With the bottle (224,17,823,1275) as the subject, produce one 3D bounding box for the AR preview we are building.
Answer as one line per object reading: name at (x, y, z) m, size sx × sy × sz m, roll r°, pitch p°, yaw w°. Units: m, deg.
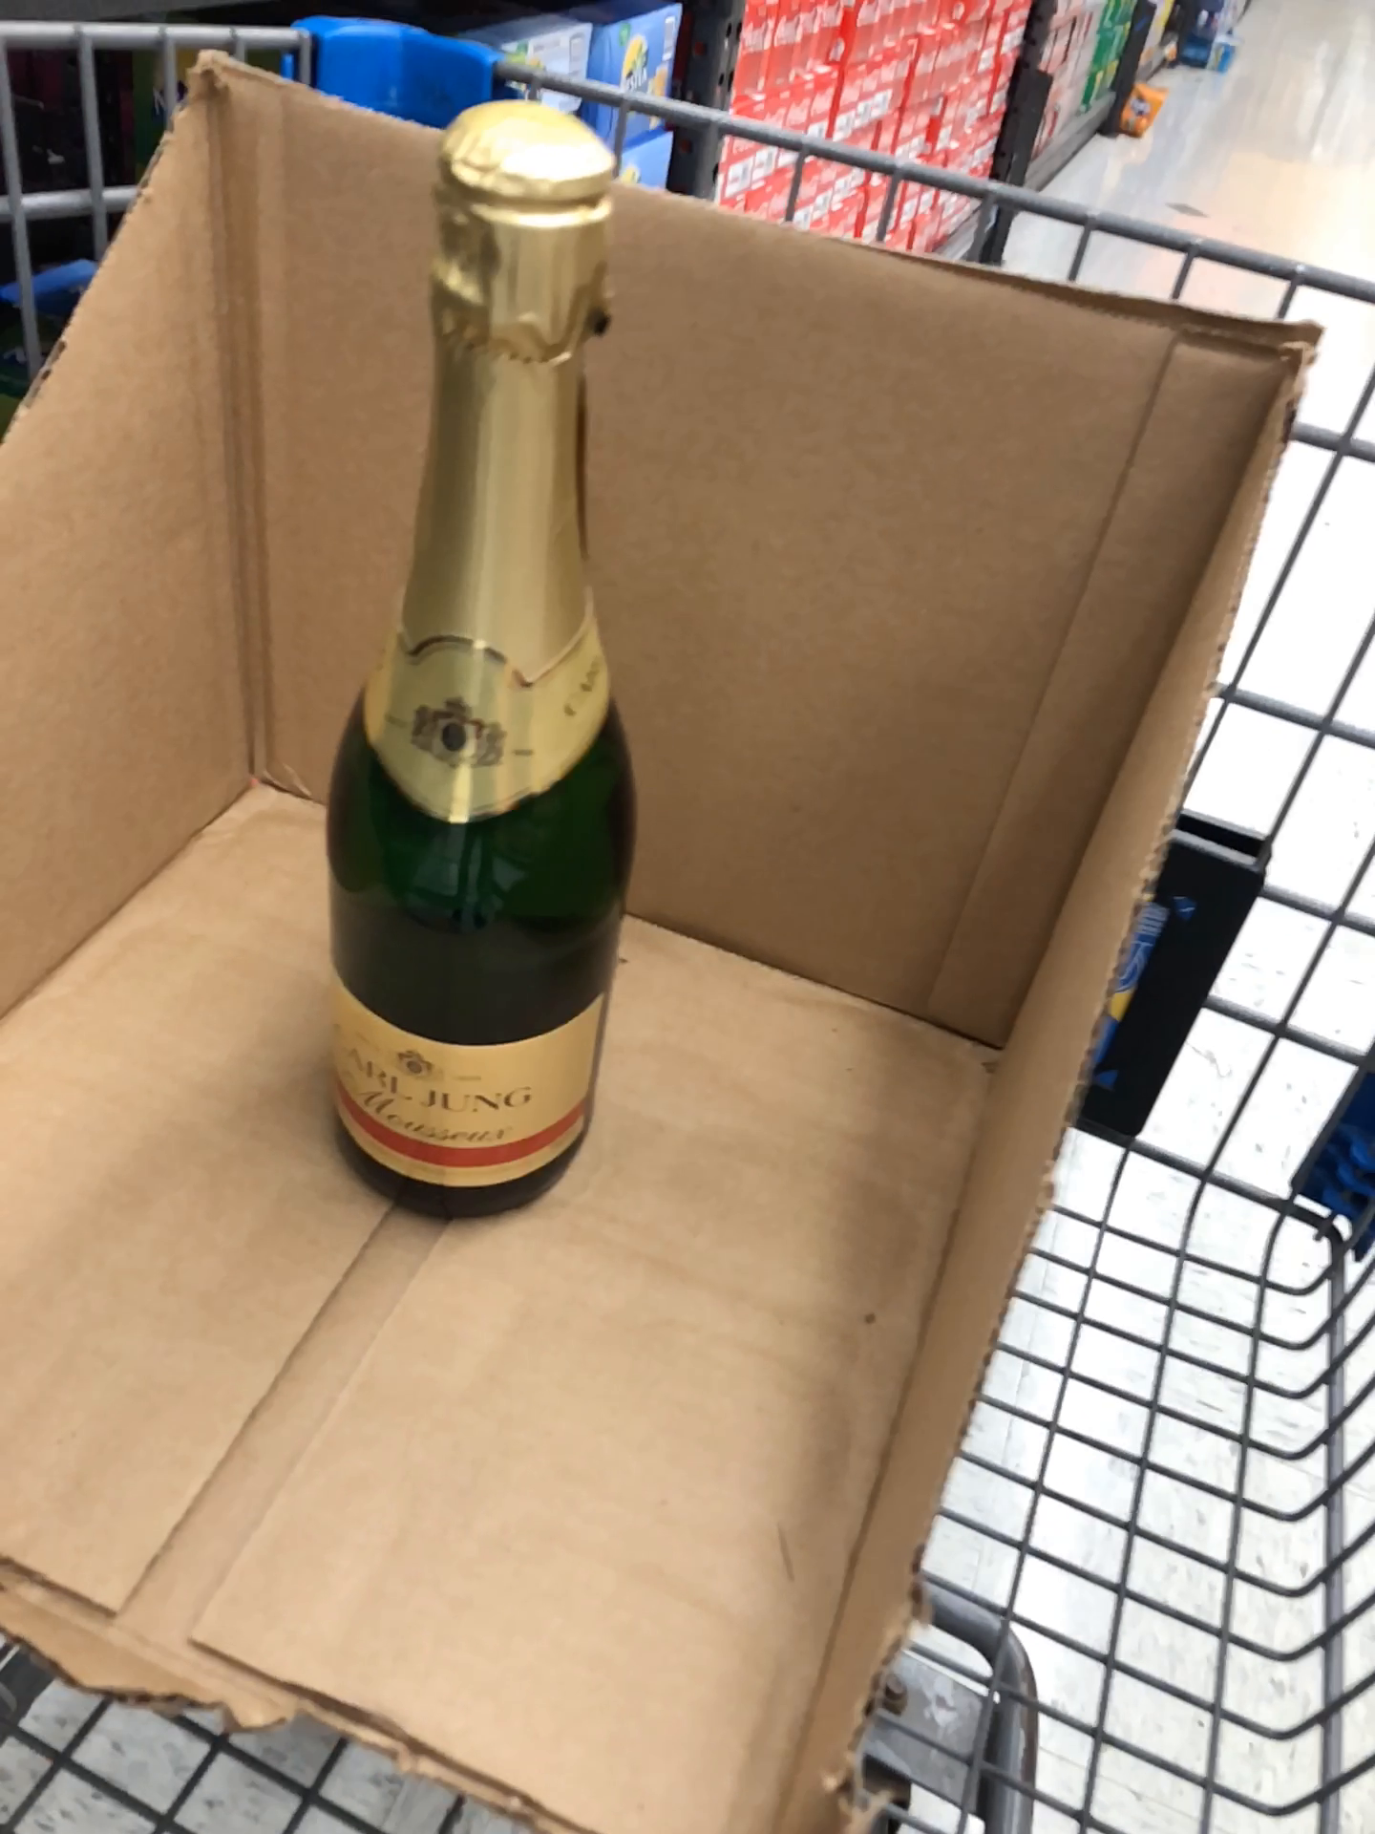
bottle at (-0.051, -0.047, 0.375) m, size 0.090 × 0.288 × 0.081 m, roll 19°, pitch 38°, yaw 8°
